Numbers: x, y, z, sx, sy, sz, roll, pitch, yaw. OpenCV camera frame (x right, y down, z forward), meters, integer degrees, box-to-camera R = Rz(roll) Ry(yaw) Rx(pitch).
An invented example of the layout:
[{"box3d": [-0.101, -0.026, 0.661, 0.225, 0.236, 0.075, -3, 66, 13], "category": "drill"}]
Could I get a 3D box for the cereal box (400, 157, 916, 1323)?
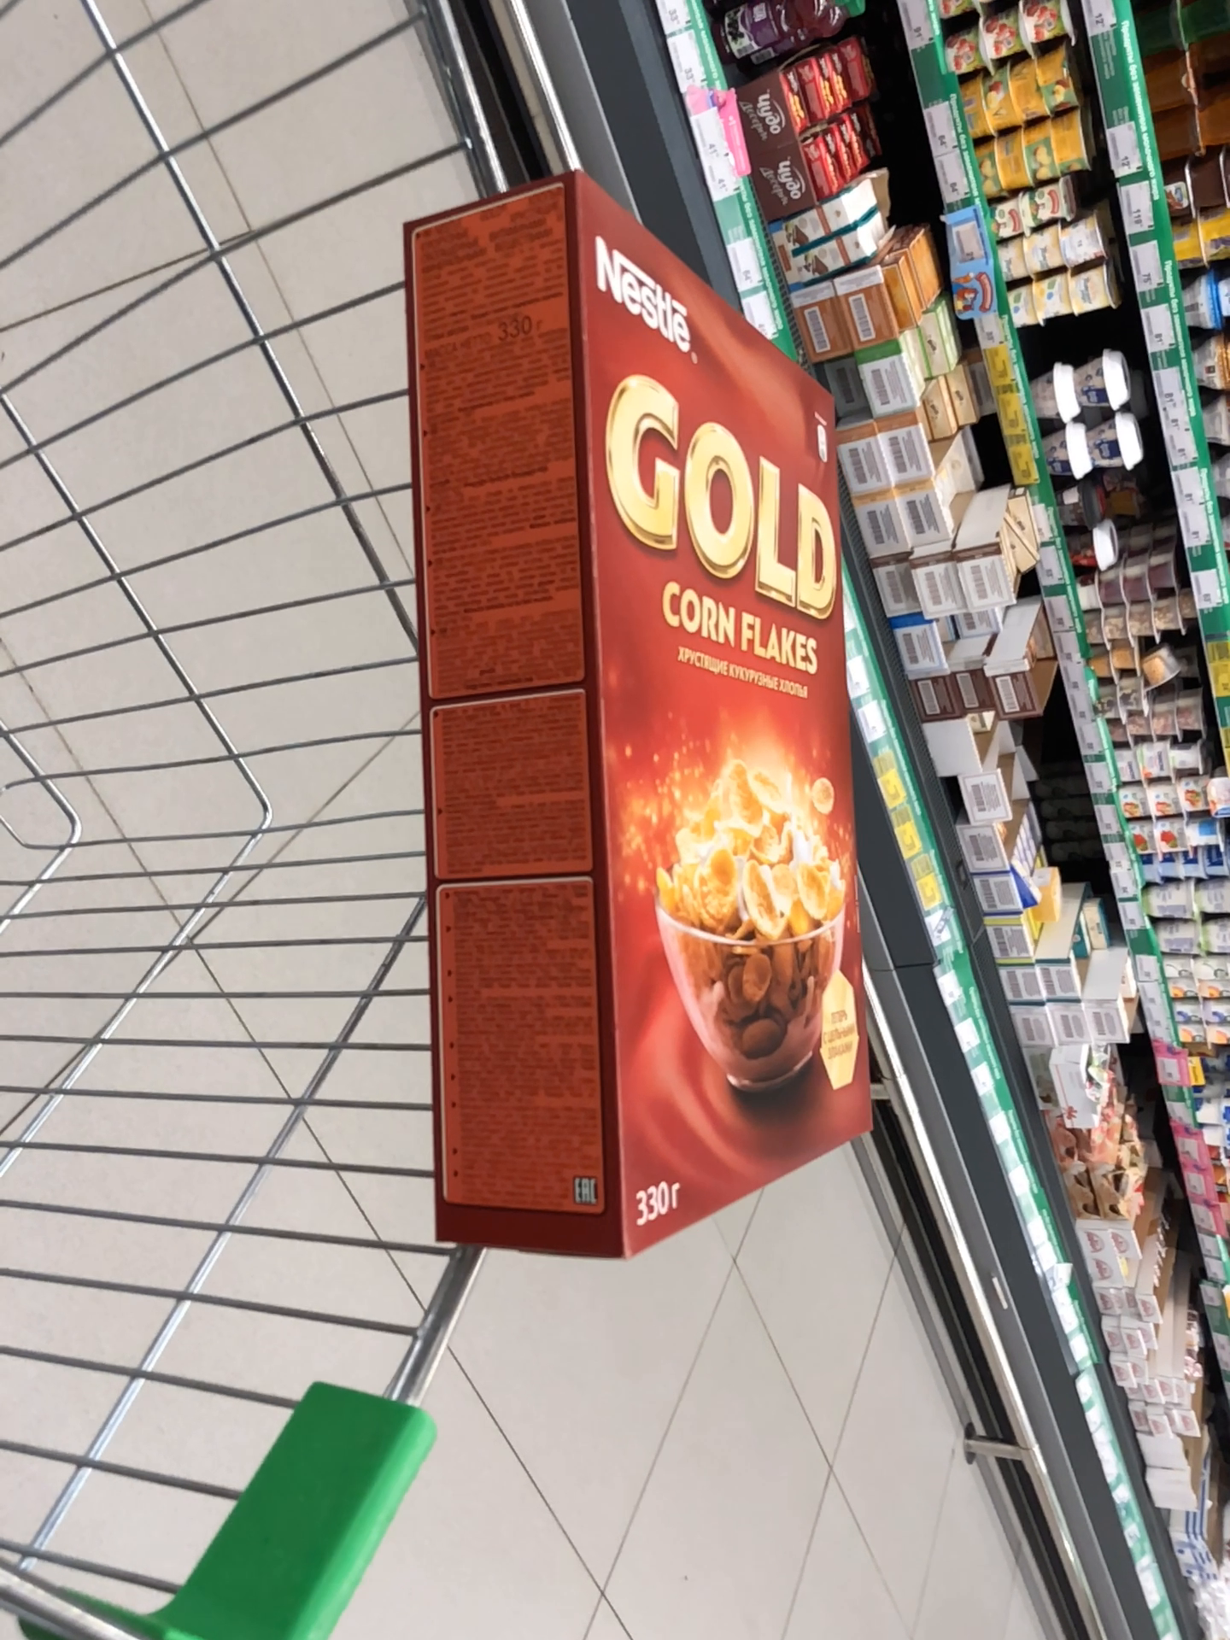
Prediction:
[{"box3d": [0.026, -0.017, 0.428, 0.211, 0.060, 0.280, 4, 82, -60], "category": "cereal box"}]
